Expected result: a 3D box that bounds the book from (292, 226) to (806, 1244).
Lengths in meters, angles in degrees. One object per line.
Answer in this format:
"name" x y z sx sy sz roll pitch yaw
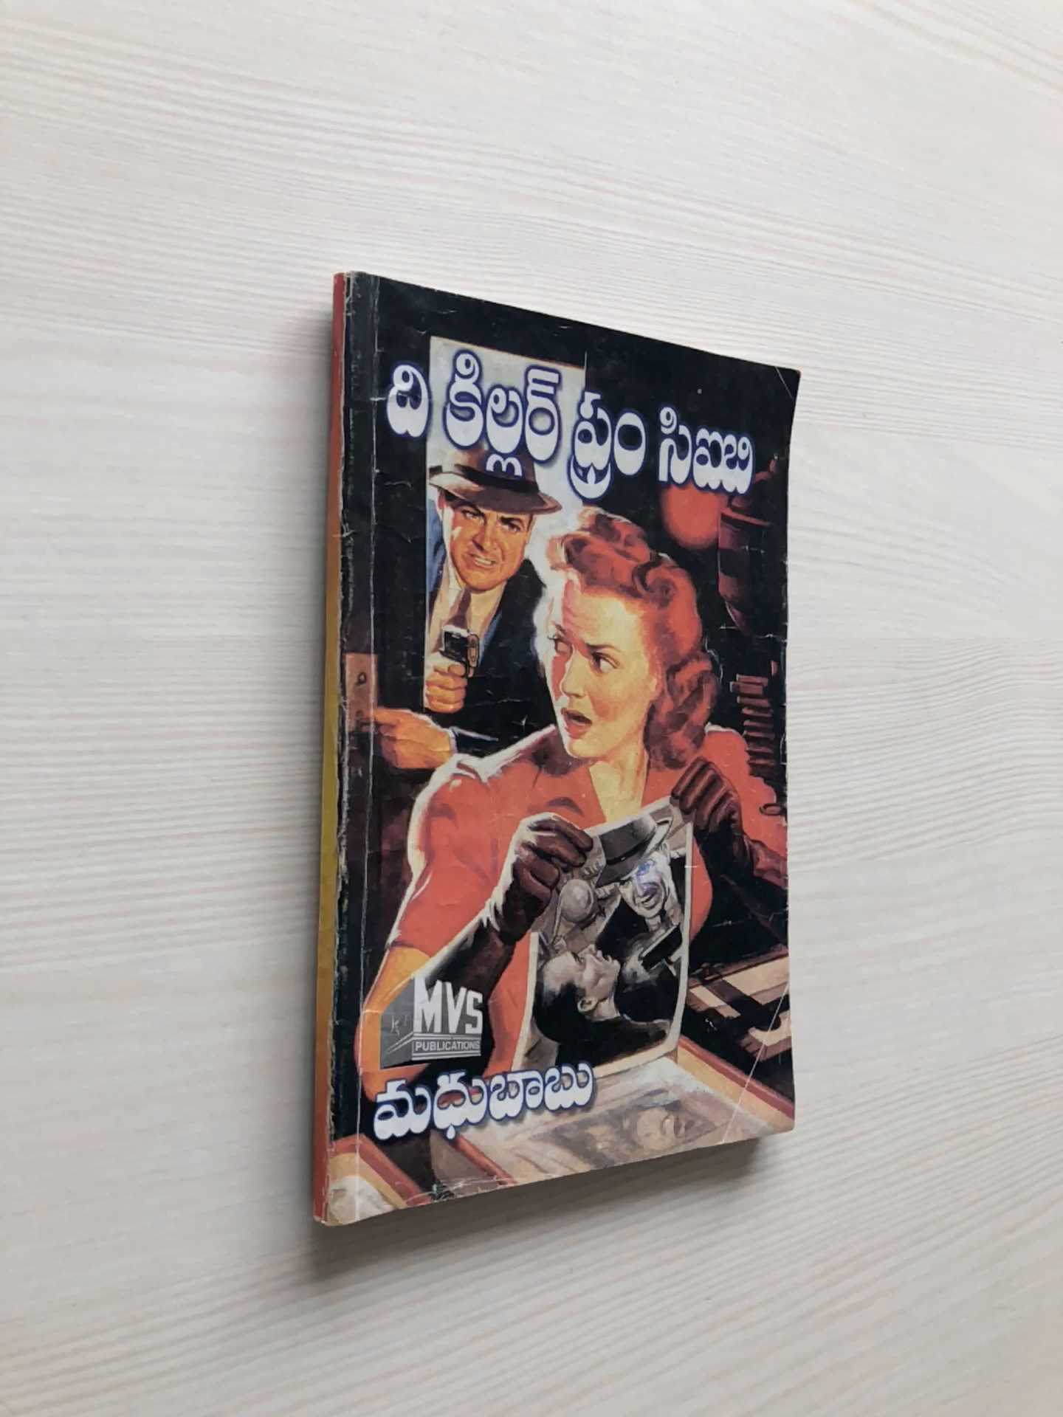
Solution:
"book" 0.008 0.004 0.217 0.100 0.012 0.160 3 84 -31
